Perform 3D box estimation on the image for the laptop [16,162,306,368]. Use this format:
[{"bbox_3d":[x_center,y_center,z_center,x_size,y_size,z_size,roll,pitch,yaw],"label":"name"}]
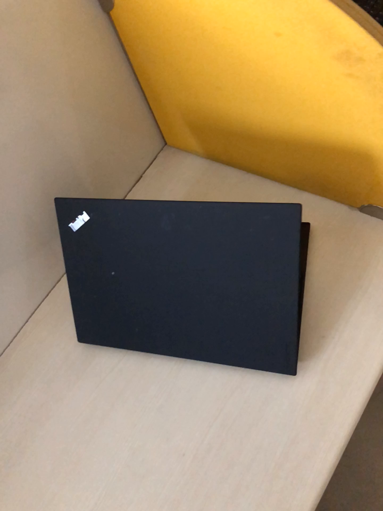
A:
[{"bbox_3d":[-0.019,0.005,0.625,0.349,0.166,0.240,3,59,19],"label":"laptop"}]
